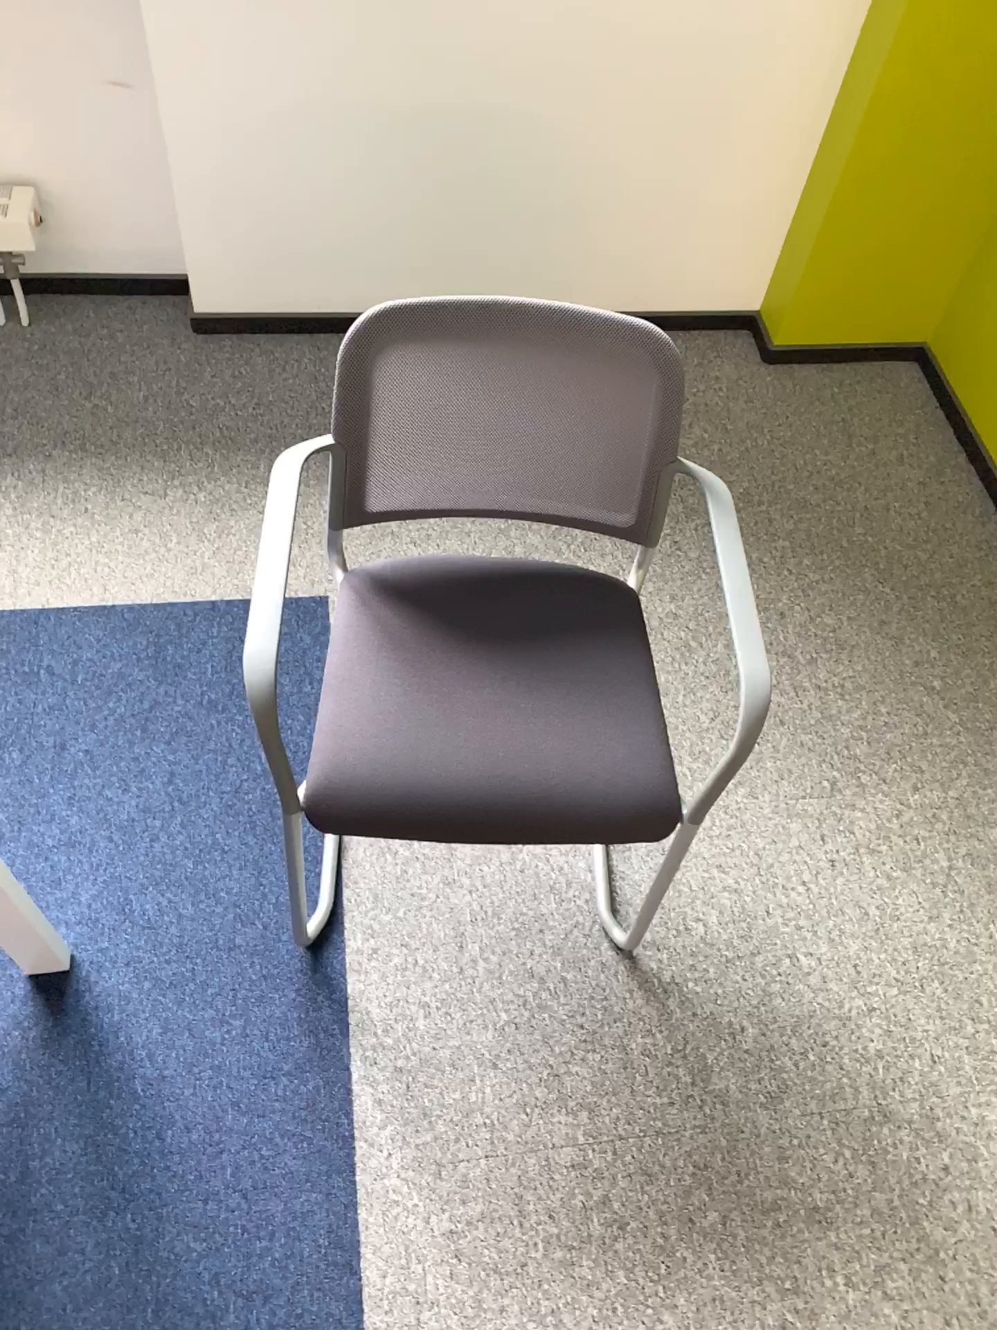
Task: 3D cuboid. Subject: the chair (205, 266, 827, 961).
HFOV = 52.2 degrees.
[{"bbox_3d":[-0.014,-0.009,1.308,0.530,0.727,0.522,4,55,-5],"label":"chair"}]
